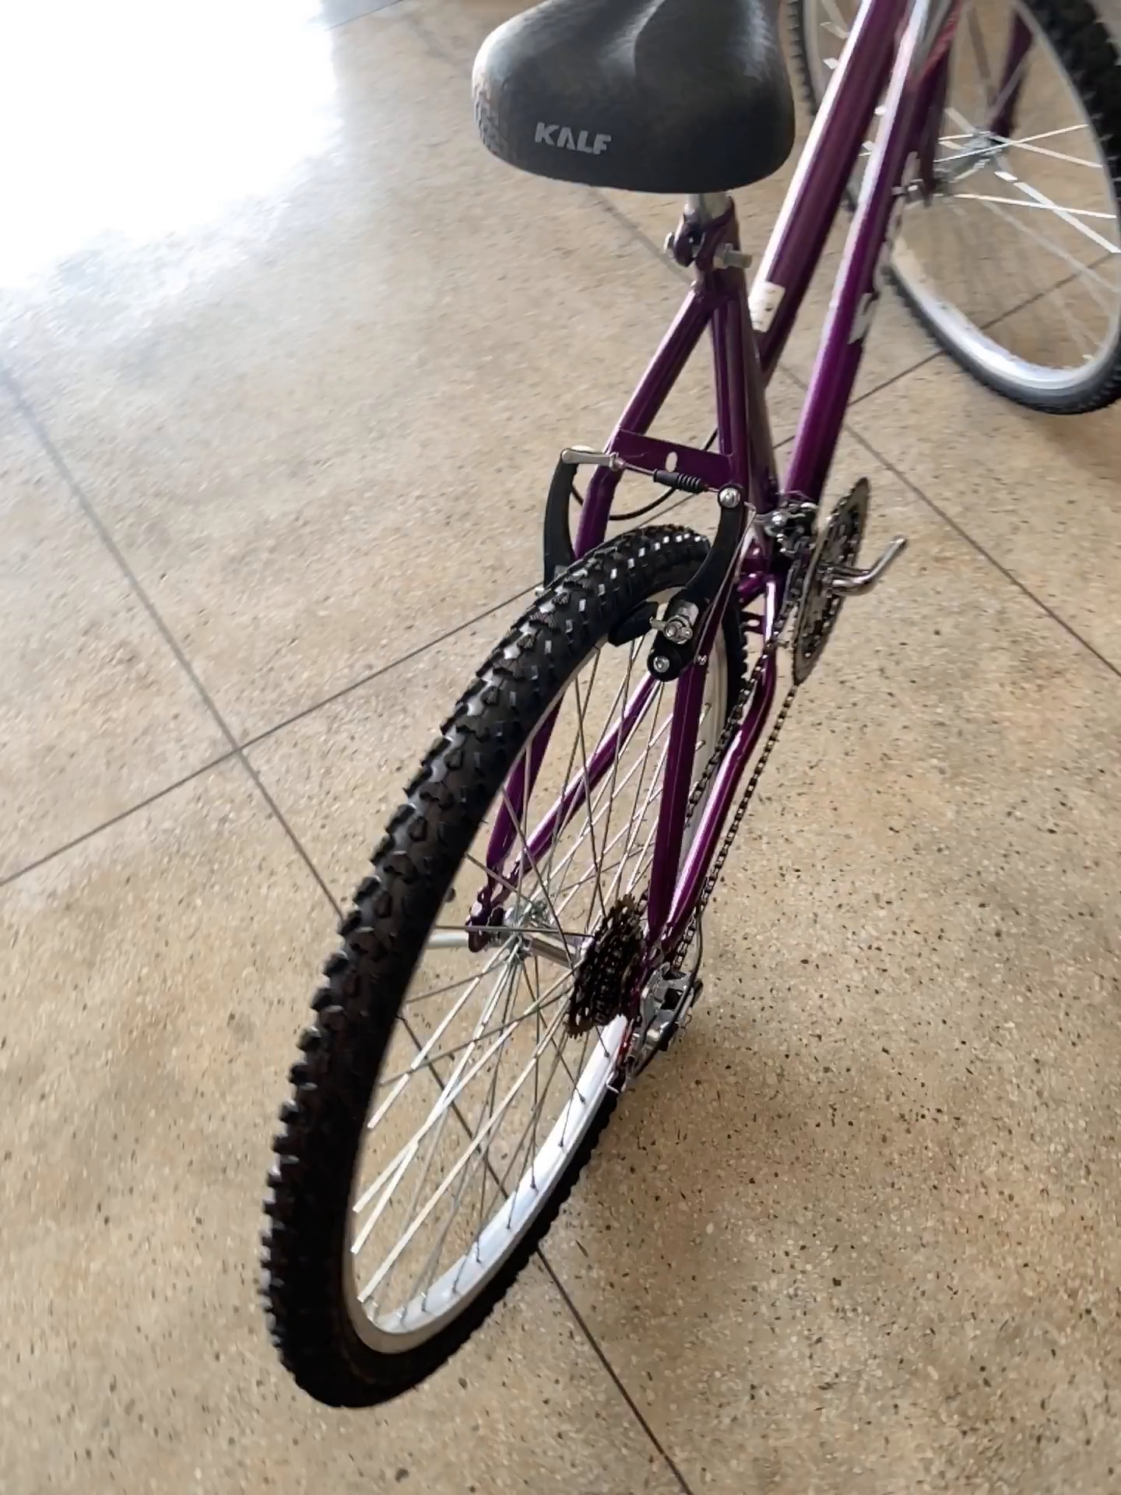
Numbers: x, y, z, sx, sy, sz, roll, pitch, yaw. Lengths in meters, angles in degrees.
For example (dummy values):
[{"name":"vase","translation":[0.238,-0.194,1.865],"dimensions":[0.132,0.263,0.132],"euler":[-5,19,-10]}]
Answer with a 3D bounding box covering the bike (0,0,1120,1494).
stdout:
[{"name":"bike","translation":[0.076,-0.349,0.850],"dimensions":[0.573,1.037,1.526],"euler":[13,64,10]}]
